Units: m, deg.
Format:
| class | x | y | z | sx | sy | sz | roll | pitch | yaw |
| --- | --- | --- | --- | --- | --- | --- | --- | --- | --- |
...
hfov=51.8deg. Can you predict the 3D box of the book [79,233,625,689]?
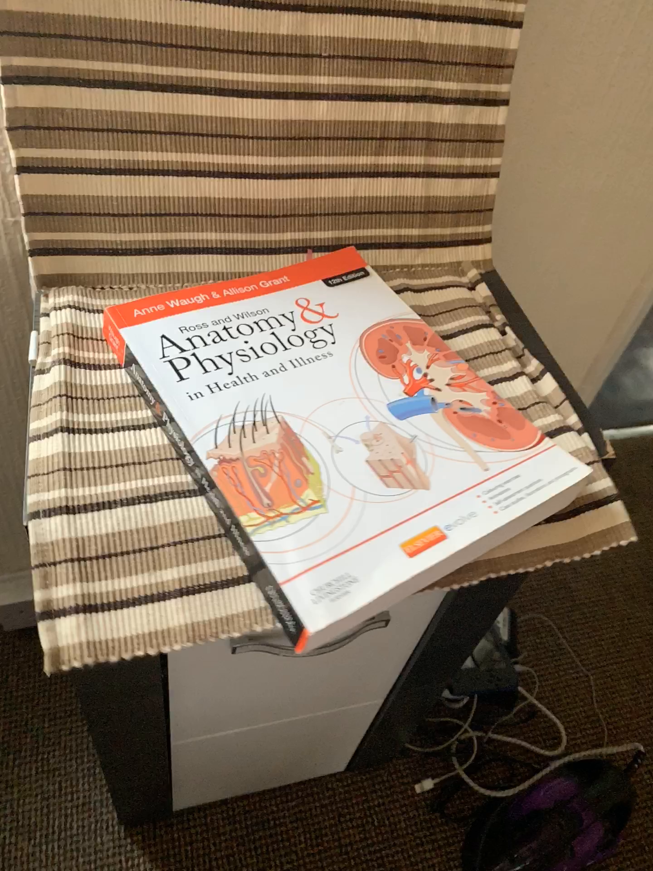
| class | x | y | z | sx | sy | sz | roll | pitch | yaw |
| --- | --- | --- | --- | --- | --- | --- | --- | --- | --- |
| book | 0.007 | -0.021 | 0.447 | 0.241 | 0.040 | 0.282 | -21 | 55 | -27 |
